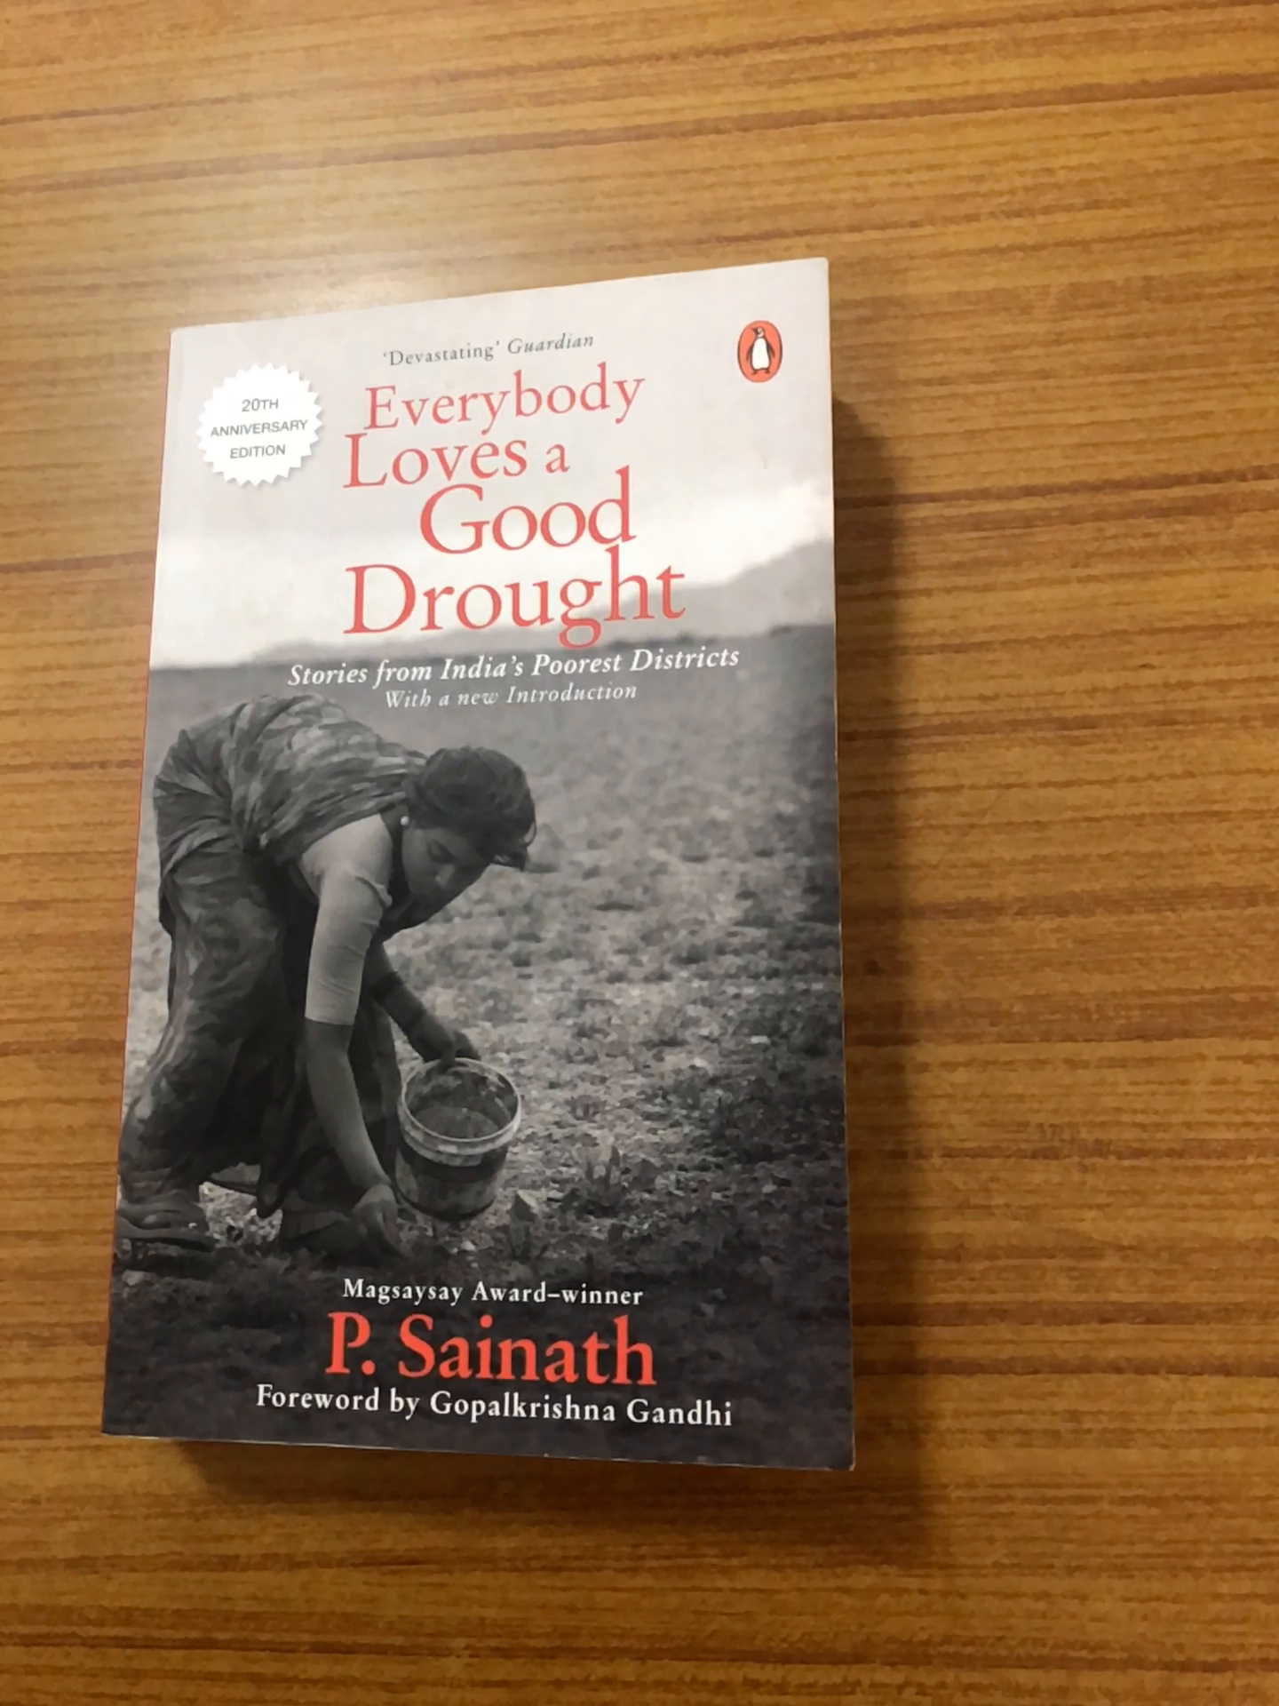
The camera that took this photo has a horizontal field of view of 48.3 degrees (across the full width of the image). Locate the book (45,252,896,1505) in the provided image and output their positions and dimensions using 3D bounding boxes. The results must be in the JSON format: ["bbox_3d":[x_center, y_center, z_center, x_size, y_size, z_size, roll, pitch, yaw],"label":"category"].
[{"bbox_3d":[-0.027,0.001,0.265,0.140,0.040,0.210,-1,81,7],"label":"book"}]
